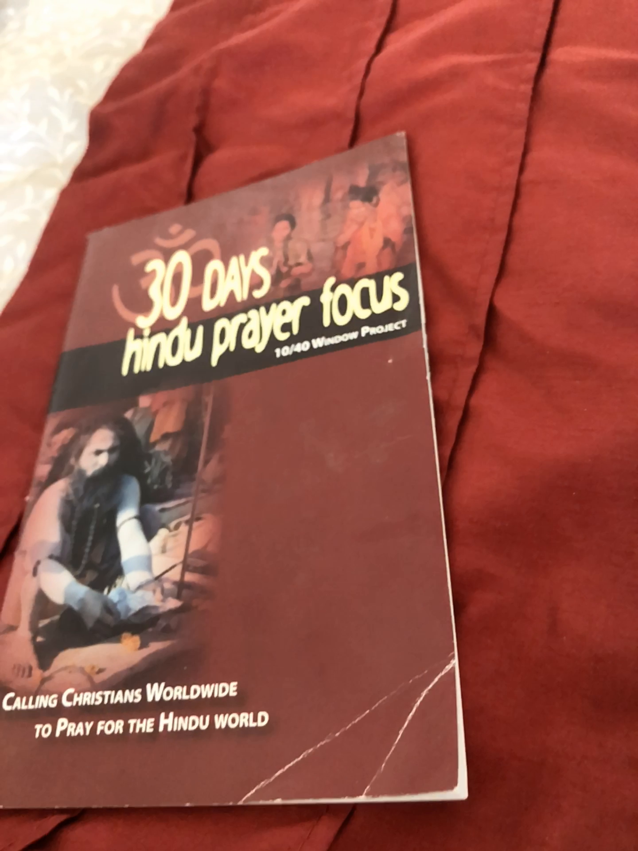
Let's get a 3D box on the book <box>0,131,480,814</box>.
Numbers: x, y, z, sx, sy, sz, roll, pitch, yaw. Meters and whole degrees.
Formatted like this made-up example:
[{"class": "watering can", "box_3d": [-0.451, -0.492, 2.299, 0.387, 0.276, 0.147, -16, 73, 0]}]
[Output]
[{"class": "book", "box_3d": [-0.034, 0.001, 0.225, 0.142, 0.010, 0.211, -10, 58, 16]}]
